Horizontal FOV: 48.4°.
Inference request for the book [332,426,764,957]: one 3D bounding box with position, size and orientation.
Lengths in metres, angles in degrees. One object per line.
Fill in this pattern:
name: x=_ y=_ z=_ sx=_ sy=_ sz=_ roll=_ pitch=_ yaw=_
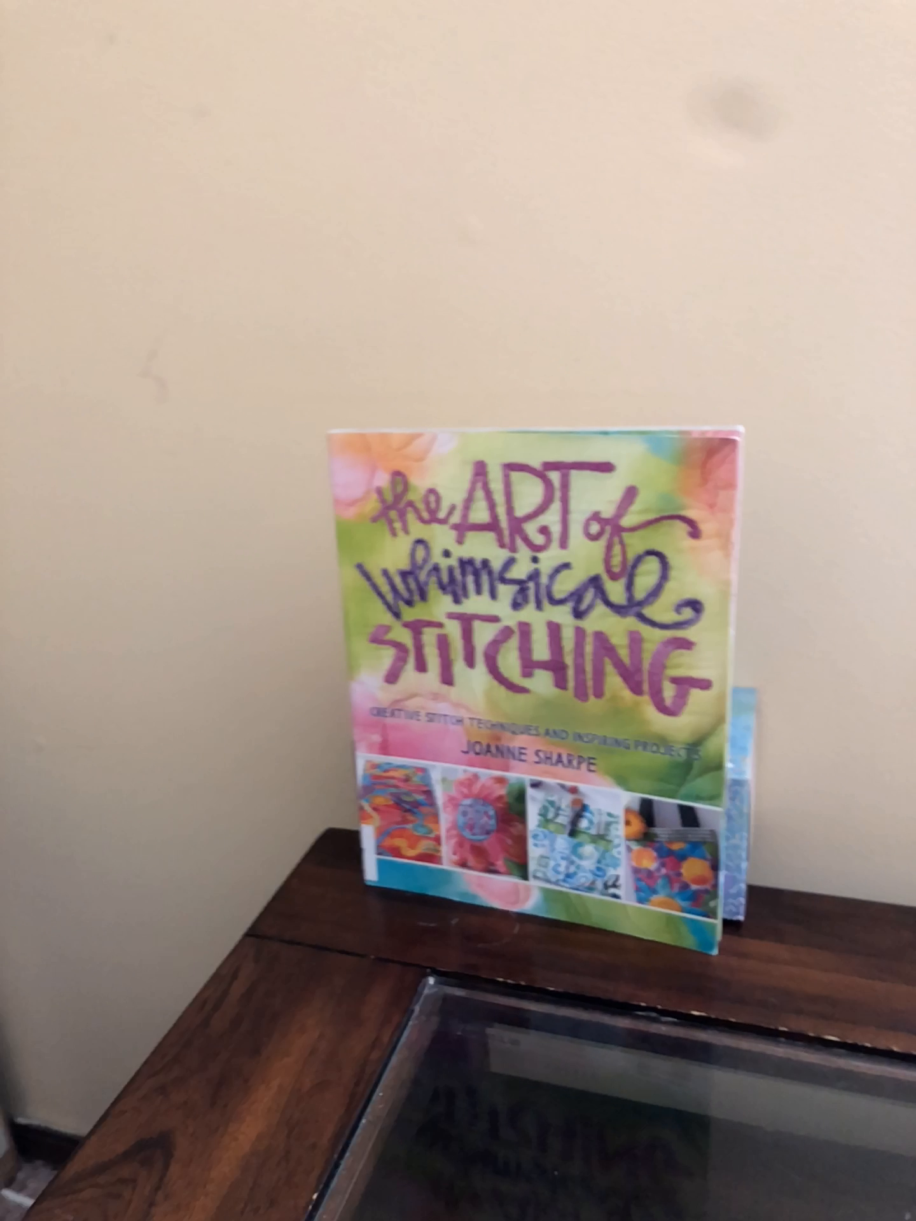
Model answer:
book: x=0.042 y=0.038 z=0.539 sx=0.214 sy=0.263 sz=0.029 roll=5 pitch=17 yaw=22
